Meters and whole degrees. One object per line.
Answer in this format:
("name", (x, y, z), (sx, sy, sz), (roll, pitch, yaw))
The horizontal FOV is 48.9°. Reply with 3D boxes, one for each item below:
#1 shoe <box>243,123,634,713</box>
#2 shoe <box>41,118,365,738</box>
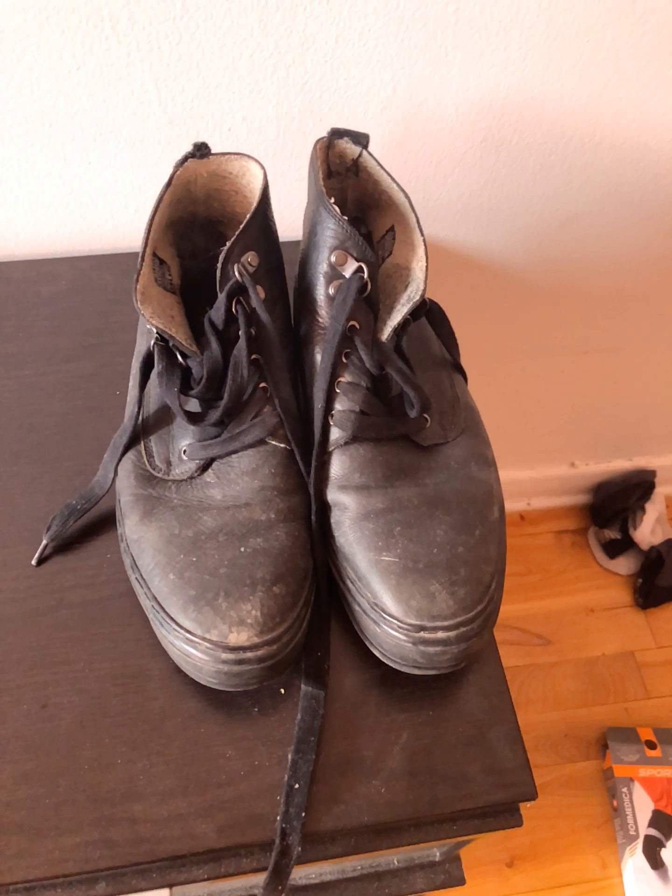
("shoe", (0.031, -0.041, 0.441), (0.120, 0.109, 0.342), (-8, 56, -8))
("shoe", (-0.073, -0.035, 0.417), (0.120, 0.109, 0.342), (-5, 56, -6))
